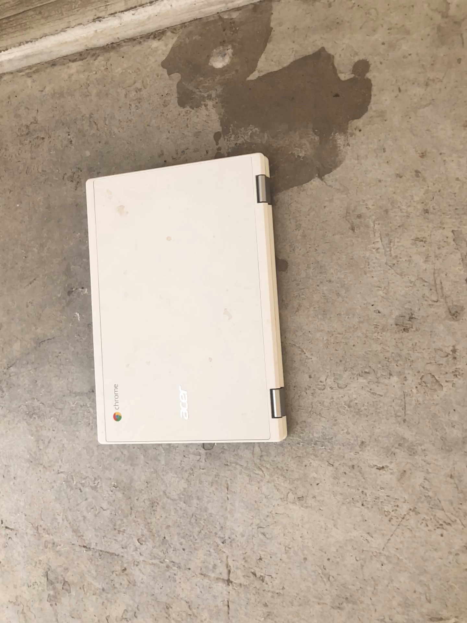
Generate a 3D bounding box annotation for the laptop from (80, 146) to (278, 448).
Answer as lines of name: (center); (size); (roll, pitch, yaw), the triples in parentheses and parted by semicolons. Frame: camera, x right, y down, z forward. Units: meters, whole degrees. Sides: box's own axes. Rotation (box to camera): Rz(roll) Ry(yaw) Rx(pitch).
laptop: (-0.060, -0.007, 0.529); (0.190, 0.046, 0.278); (-5, 86, 23)
